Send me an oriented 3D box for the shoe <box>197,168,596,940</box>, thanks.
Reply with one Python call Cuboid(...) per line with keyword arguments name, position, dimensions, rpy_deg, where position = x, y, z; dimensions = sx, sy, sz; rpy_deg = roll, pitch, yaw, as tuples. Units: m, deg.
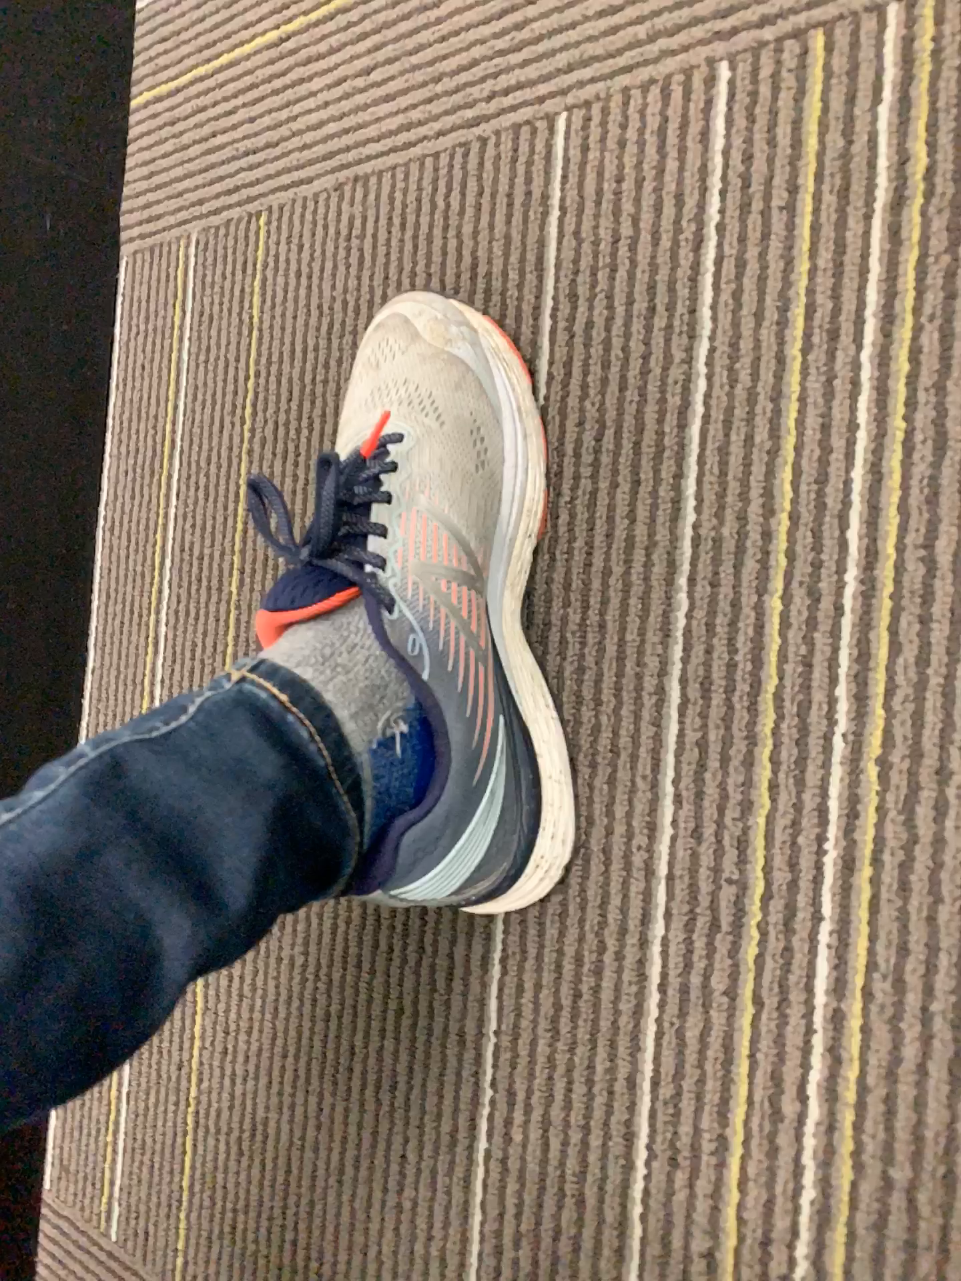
Cuboid(name="shoe", position=(-0.038, -0.026, 0.402), dimensions=(0.111, 0.089, 0.270), rpy_deg=(-12, 80, 37))
